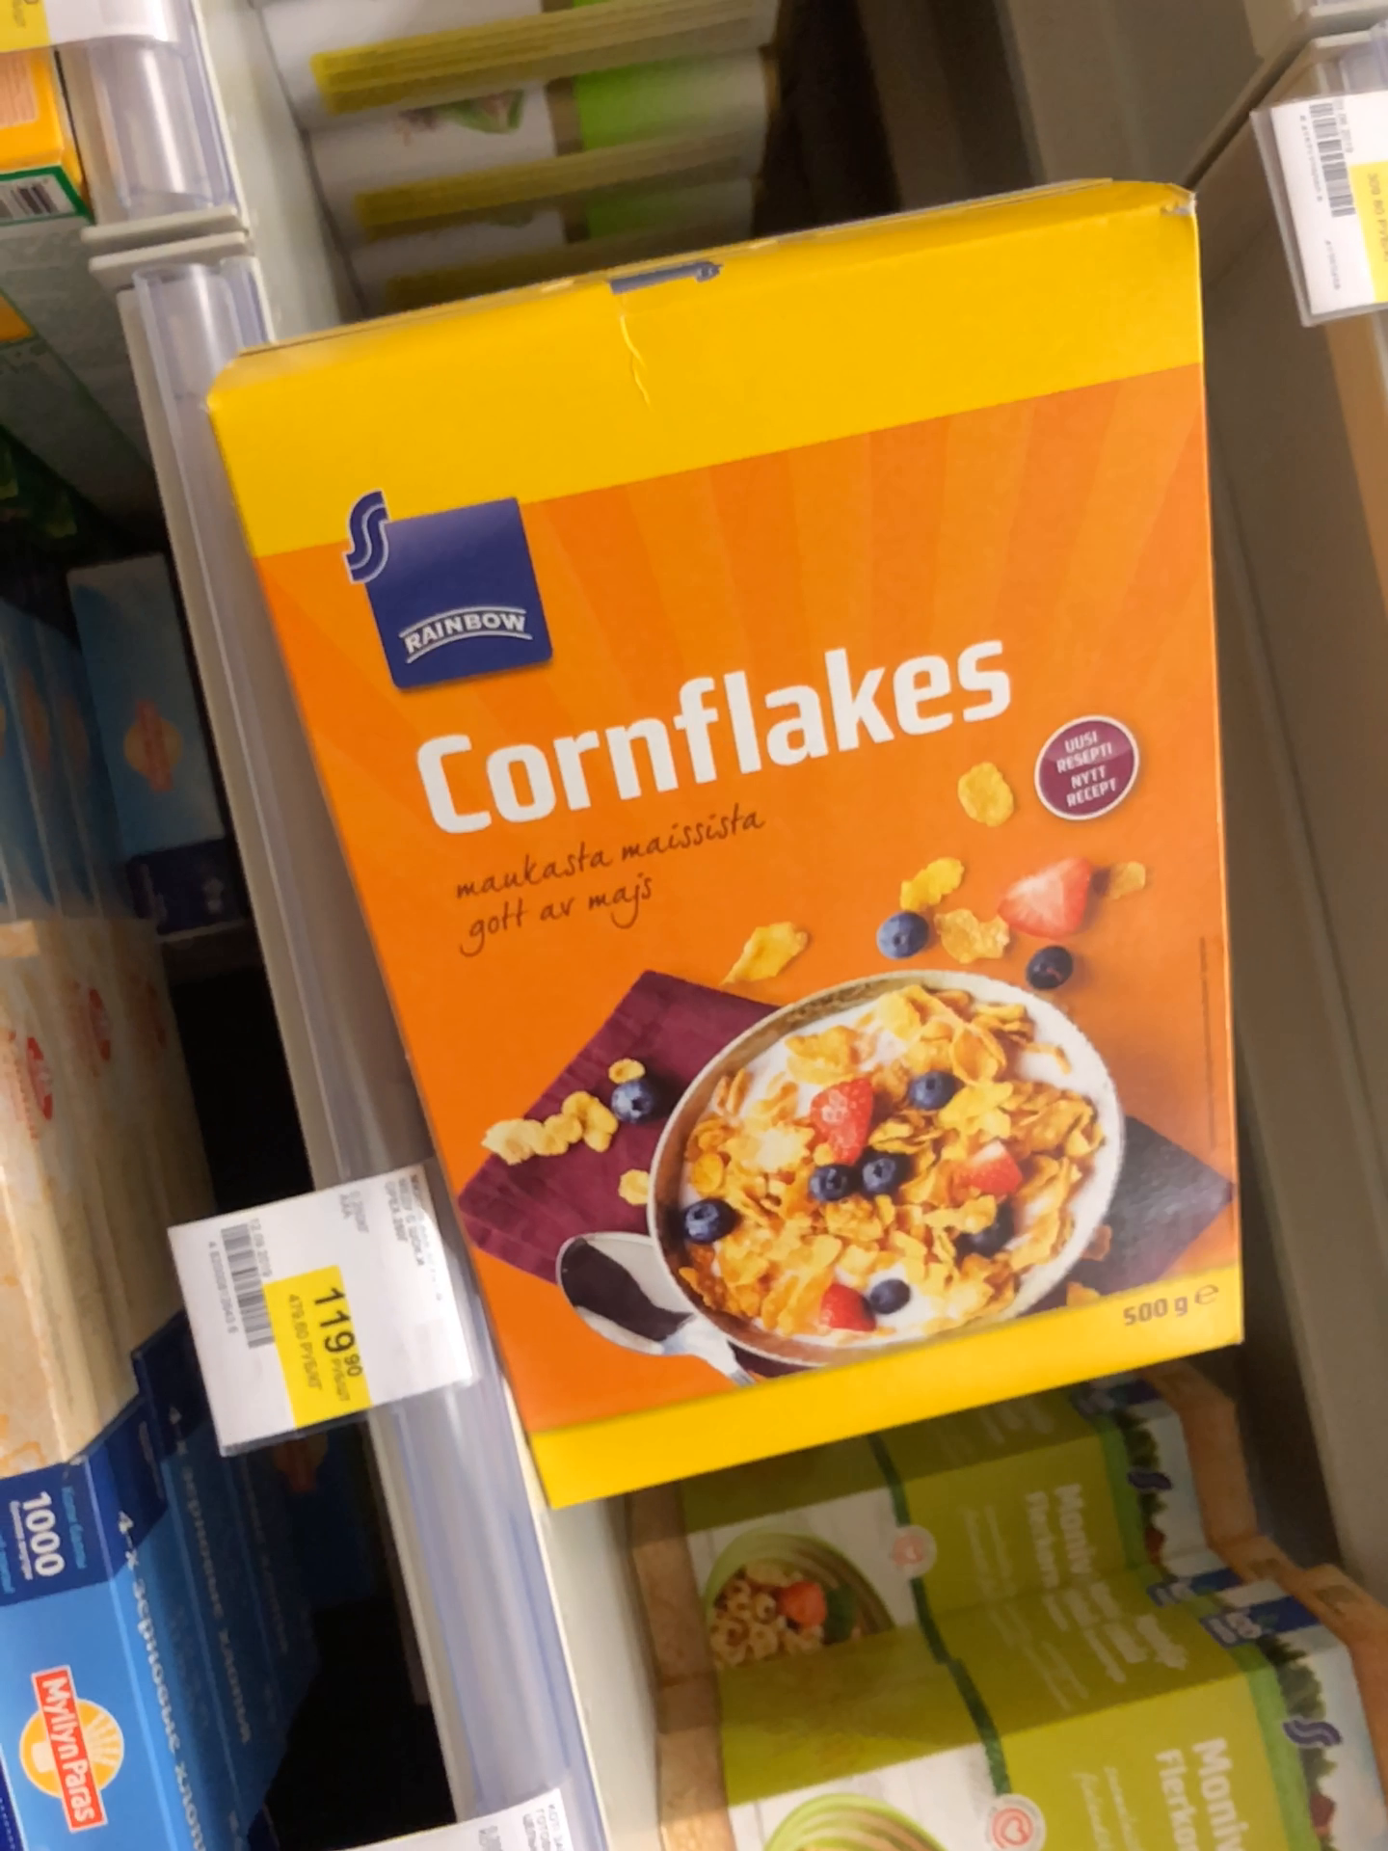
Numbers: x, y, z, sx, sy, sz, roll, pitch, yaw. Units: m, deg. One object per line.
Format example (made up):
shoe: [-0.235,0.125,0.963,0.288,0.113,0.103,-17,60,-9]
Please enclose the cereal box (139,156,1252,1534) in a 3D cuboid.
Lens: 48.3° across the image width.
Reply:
cereal box: [0.017,-0.017,0.396,0.120,0.200,0.290,-108,-174,-64]
